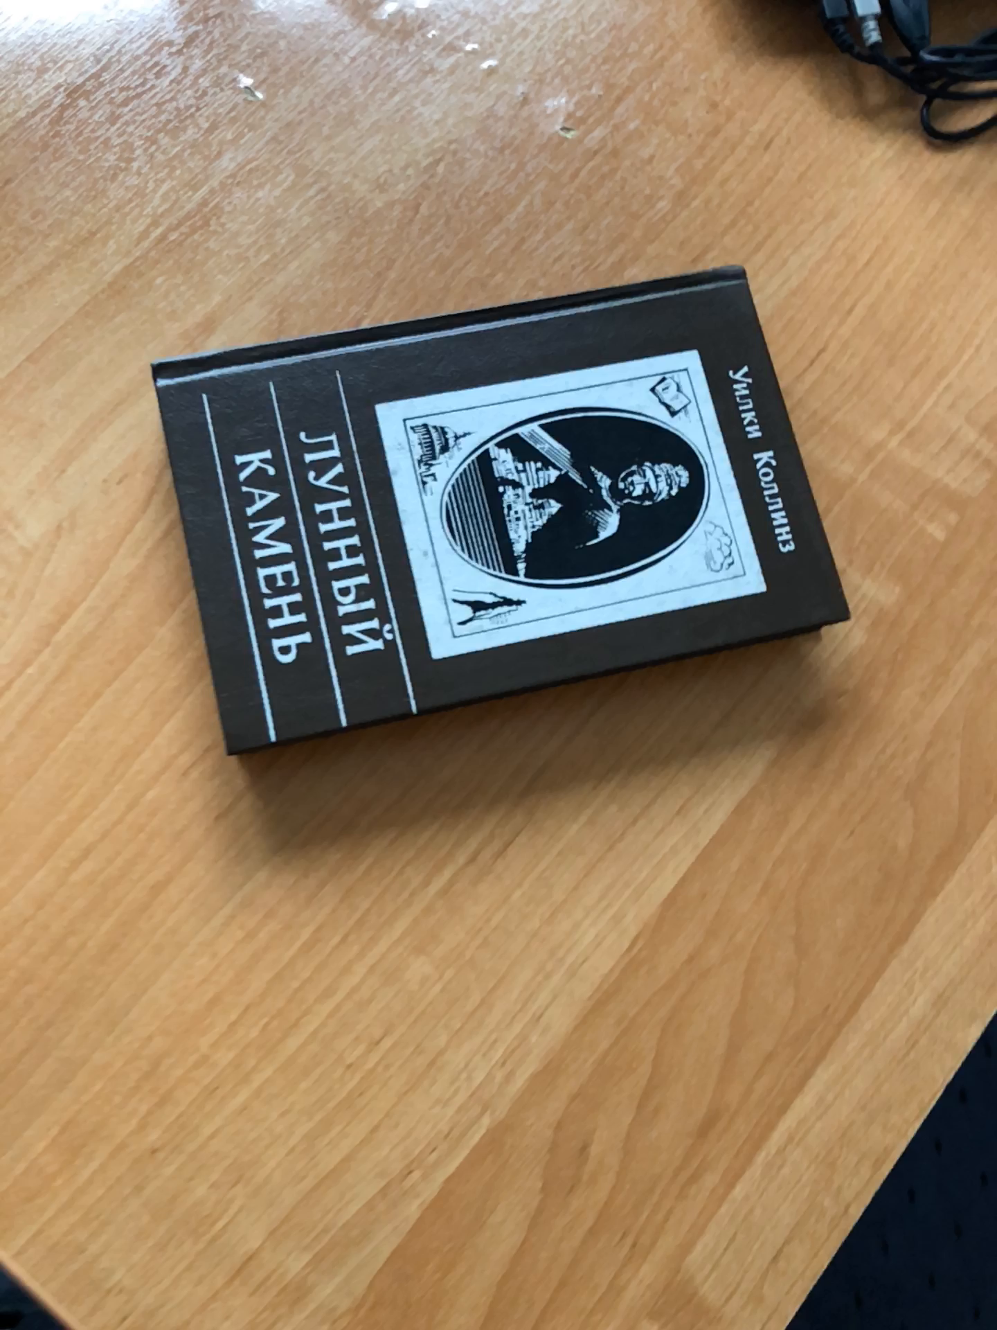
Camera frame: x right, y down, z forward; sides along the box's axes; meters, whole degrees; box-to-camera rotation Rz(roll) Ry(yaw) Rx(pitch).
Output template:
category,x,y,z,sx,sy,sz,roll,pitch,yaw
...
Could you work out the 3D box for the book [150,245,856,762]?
category,x,y,z,sx,sy,sz,roll,pitch,yaw
book,0.000,-0.056,0.366,0.199,0.032,0.133,-12,77,-7
